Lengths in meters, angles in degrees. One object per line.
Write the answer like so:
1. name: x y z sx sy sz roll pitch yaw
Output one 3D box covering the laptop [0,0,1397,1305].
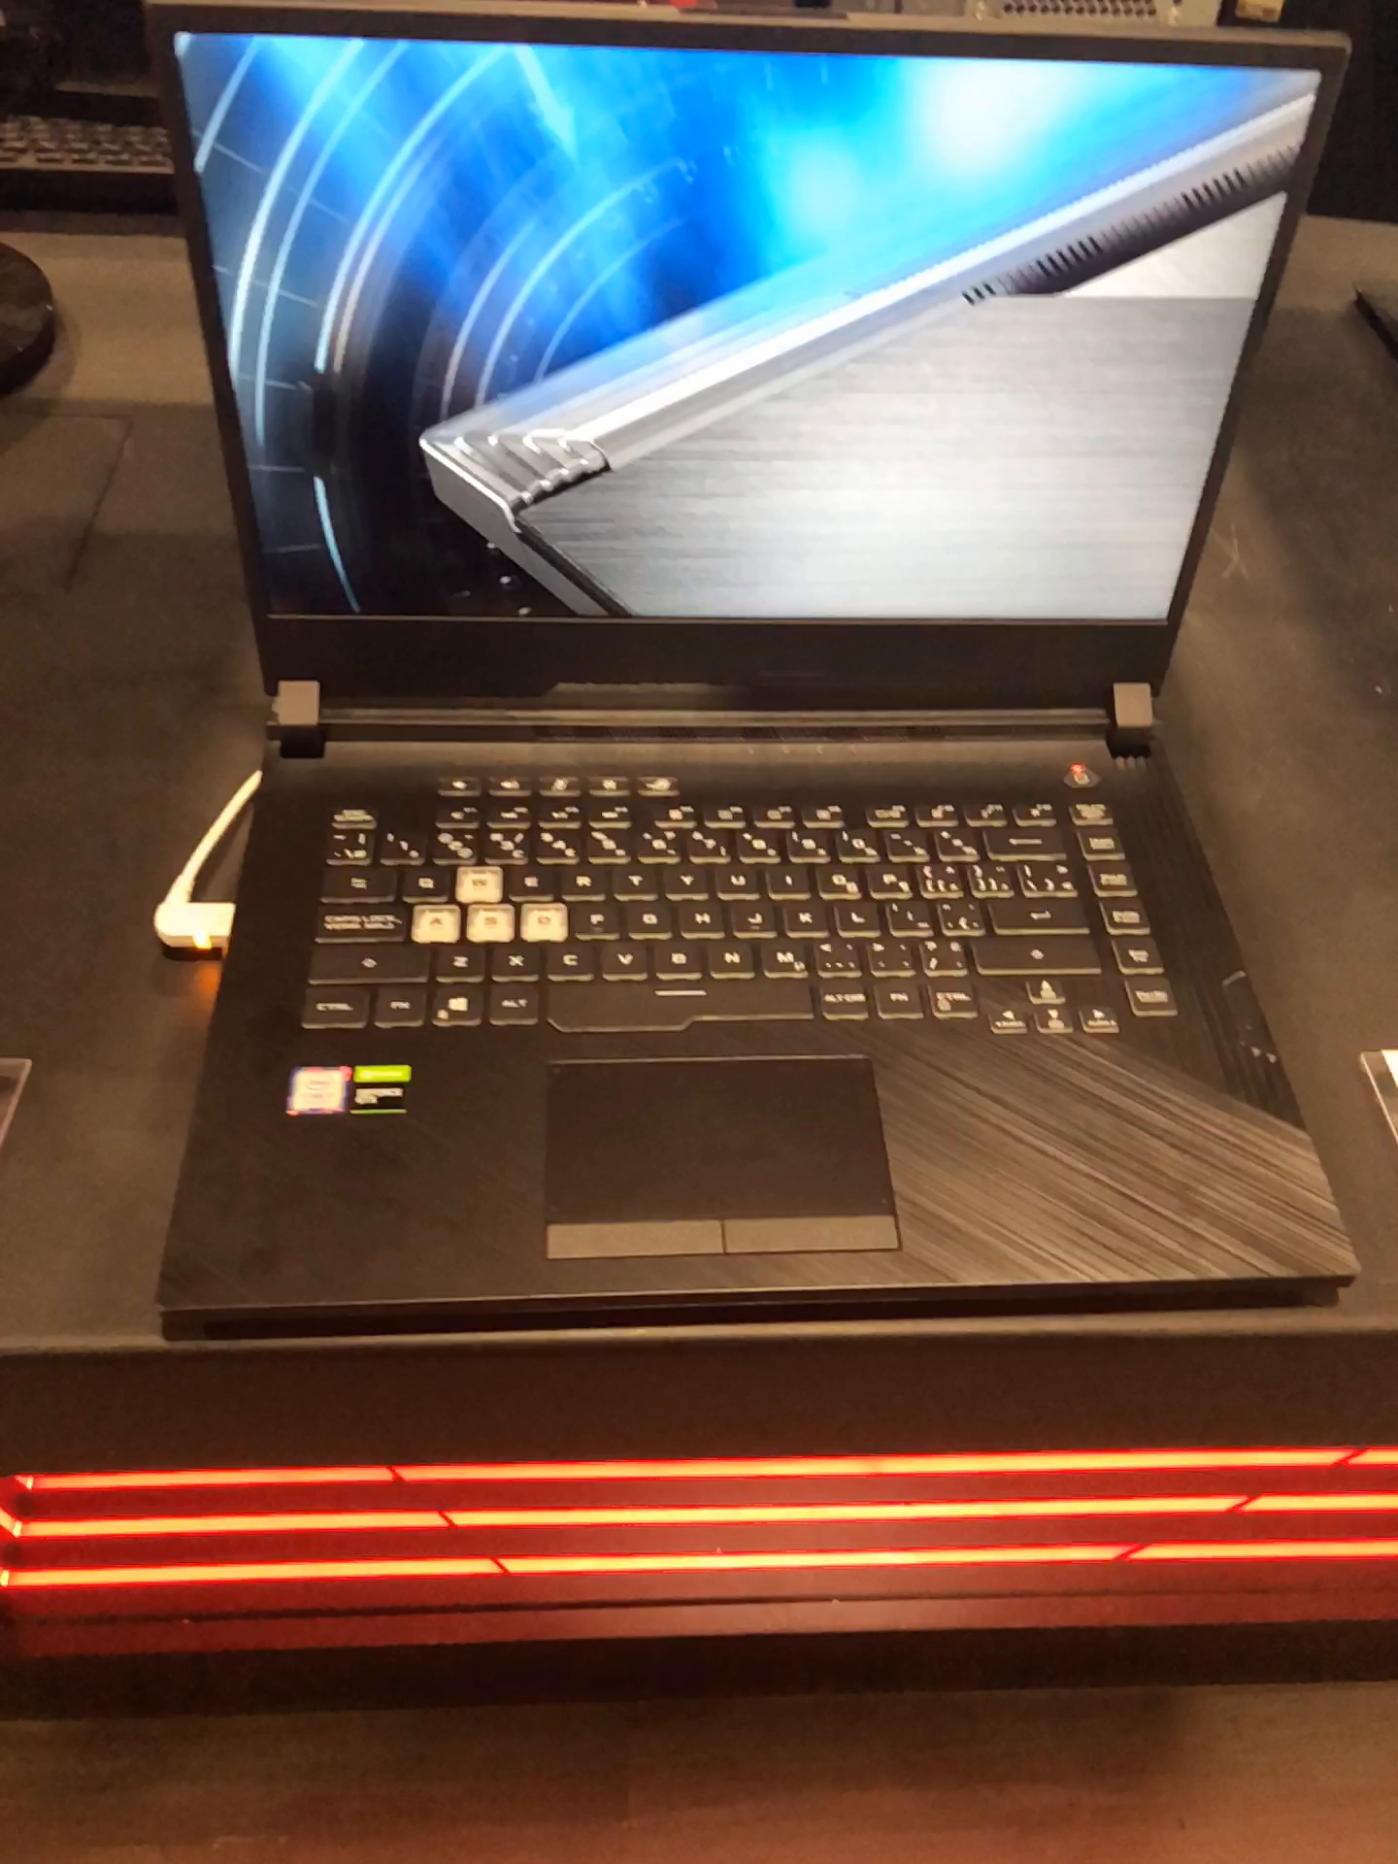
1. laptop: 0.020 -0.080 0.447 0.350 0.243 0.281 0 48 -5
